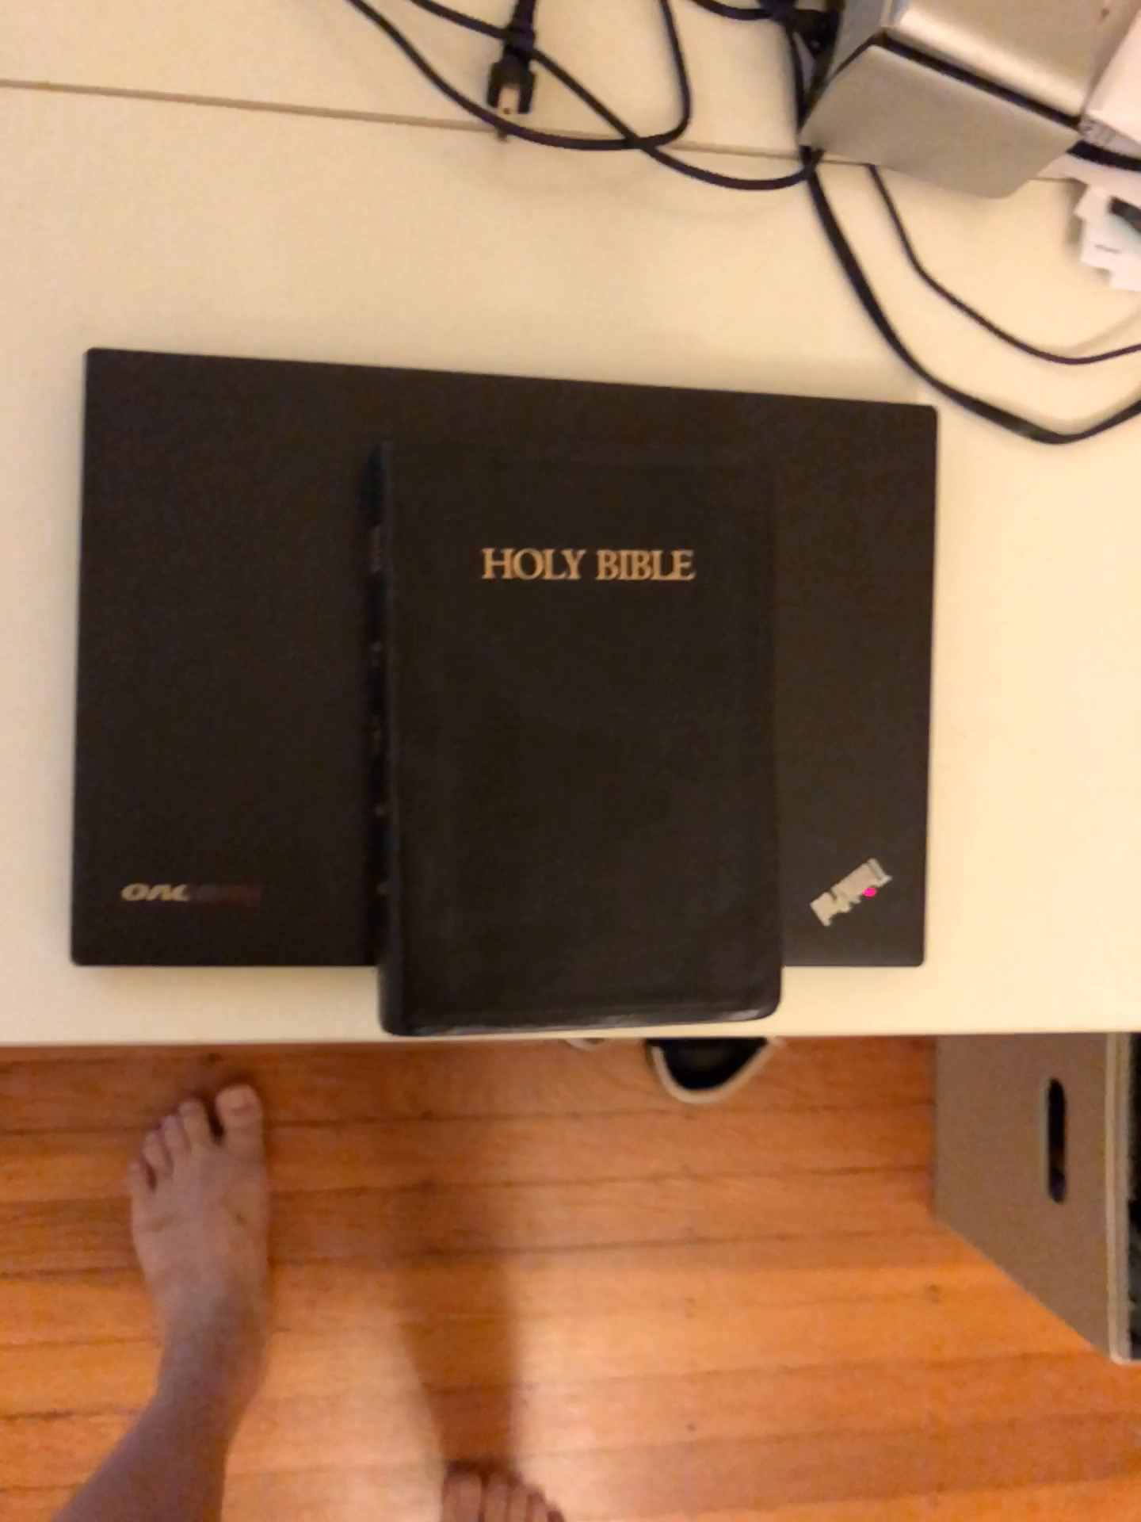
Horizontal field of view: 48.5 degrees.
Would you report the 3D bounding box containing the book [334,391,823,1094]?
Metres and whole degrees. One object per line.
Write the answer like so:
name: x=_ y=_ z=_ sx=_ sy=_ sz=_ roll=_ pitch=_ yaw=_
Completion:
book: x=0.002 y=-0.008 z=0.464 sx=0.170 sy=0.040 sz=0.240 roll=-1 pitch=89 yaw=-8
